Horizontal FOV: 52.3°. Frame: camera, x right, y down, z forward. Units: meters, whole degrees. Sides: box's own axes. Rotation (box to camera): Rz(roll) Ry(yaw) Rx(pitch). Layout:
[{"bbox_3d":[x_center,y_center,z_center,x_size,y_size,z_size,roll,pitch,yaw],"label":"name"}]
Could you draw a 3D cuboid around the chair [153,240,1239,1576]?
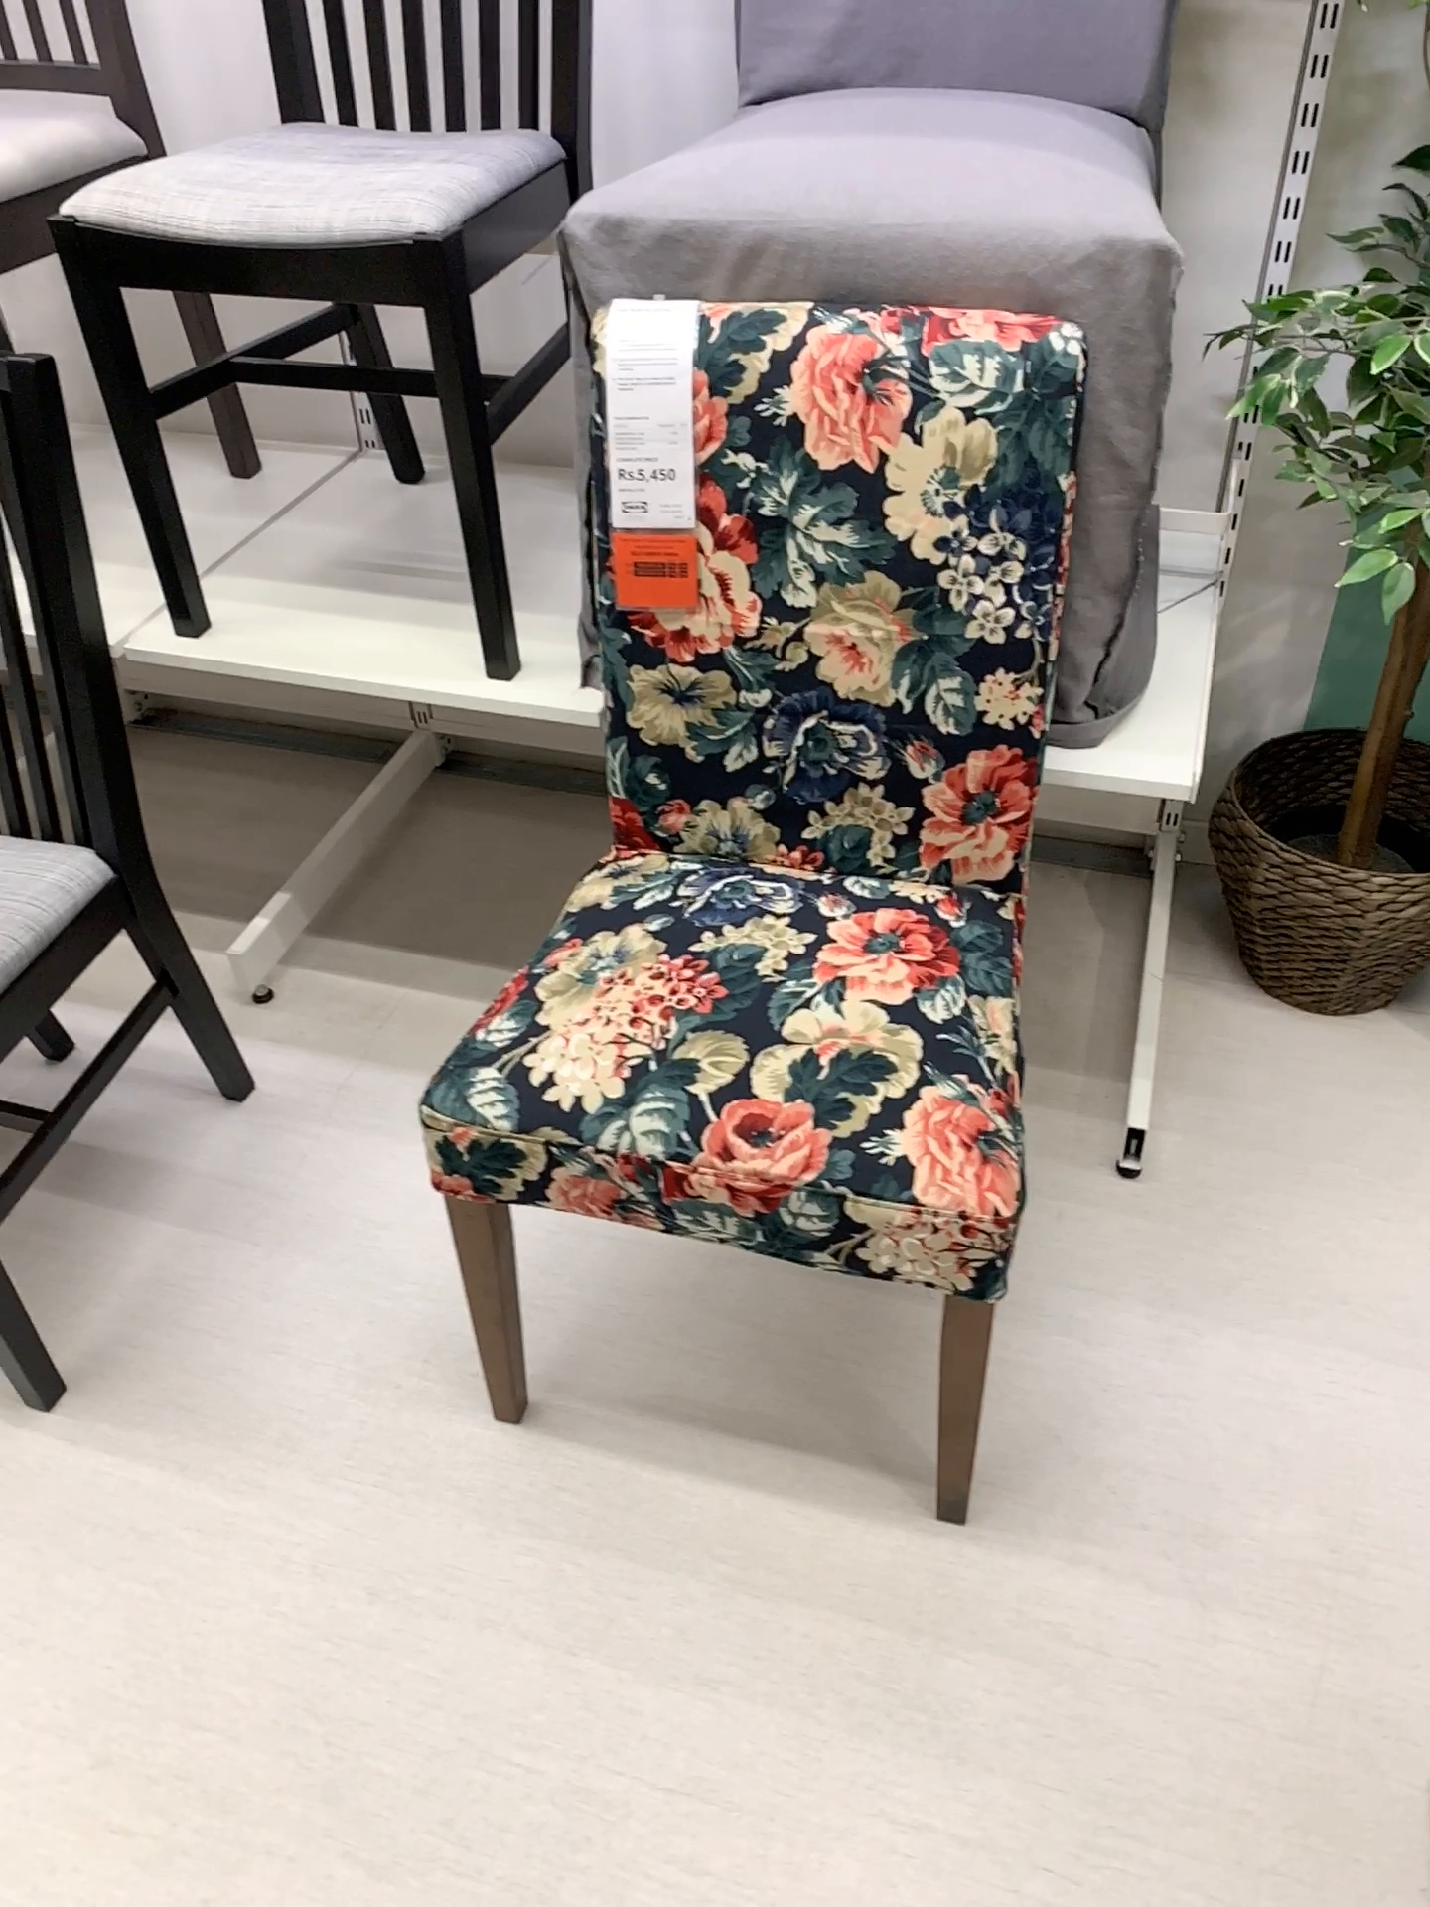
[{"bbox_3d":[0.057,-0.041,1.253,0.560,0.886,0.602,10,42,15],"label":"chair"}]
